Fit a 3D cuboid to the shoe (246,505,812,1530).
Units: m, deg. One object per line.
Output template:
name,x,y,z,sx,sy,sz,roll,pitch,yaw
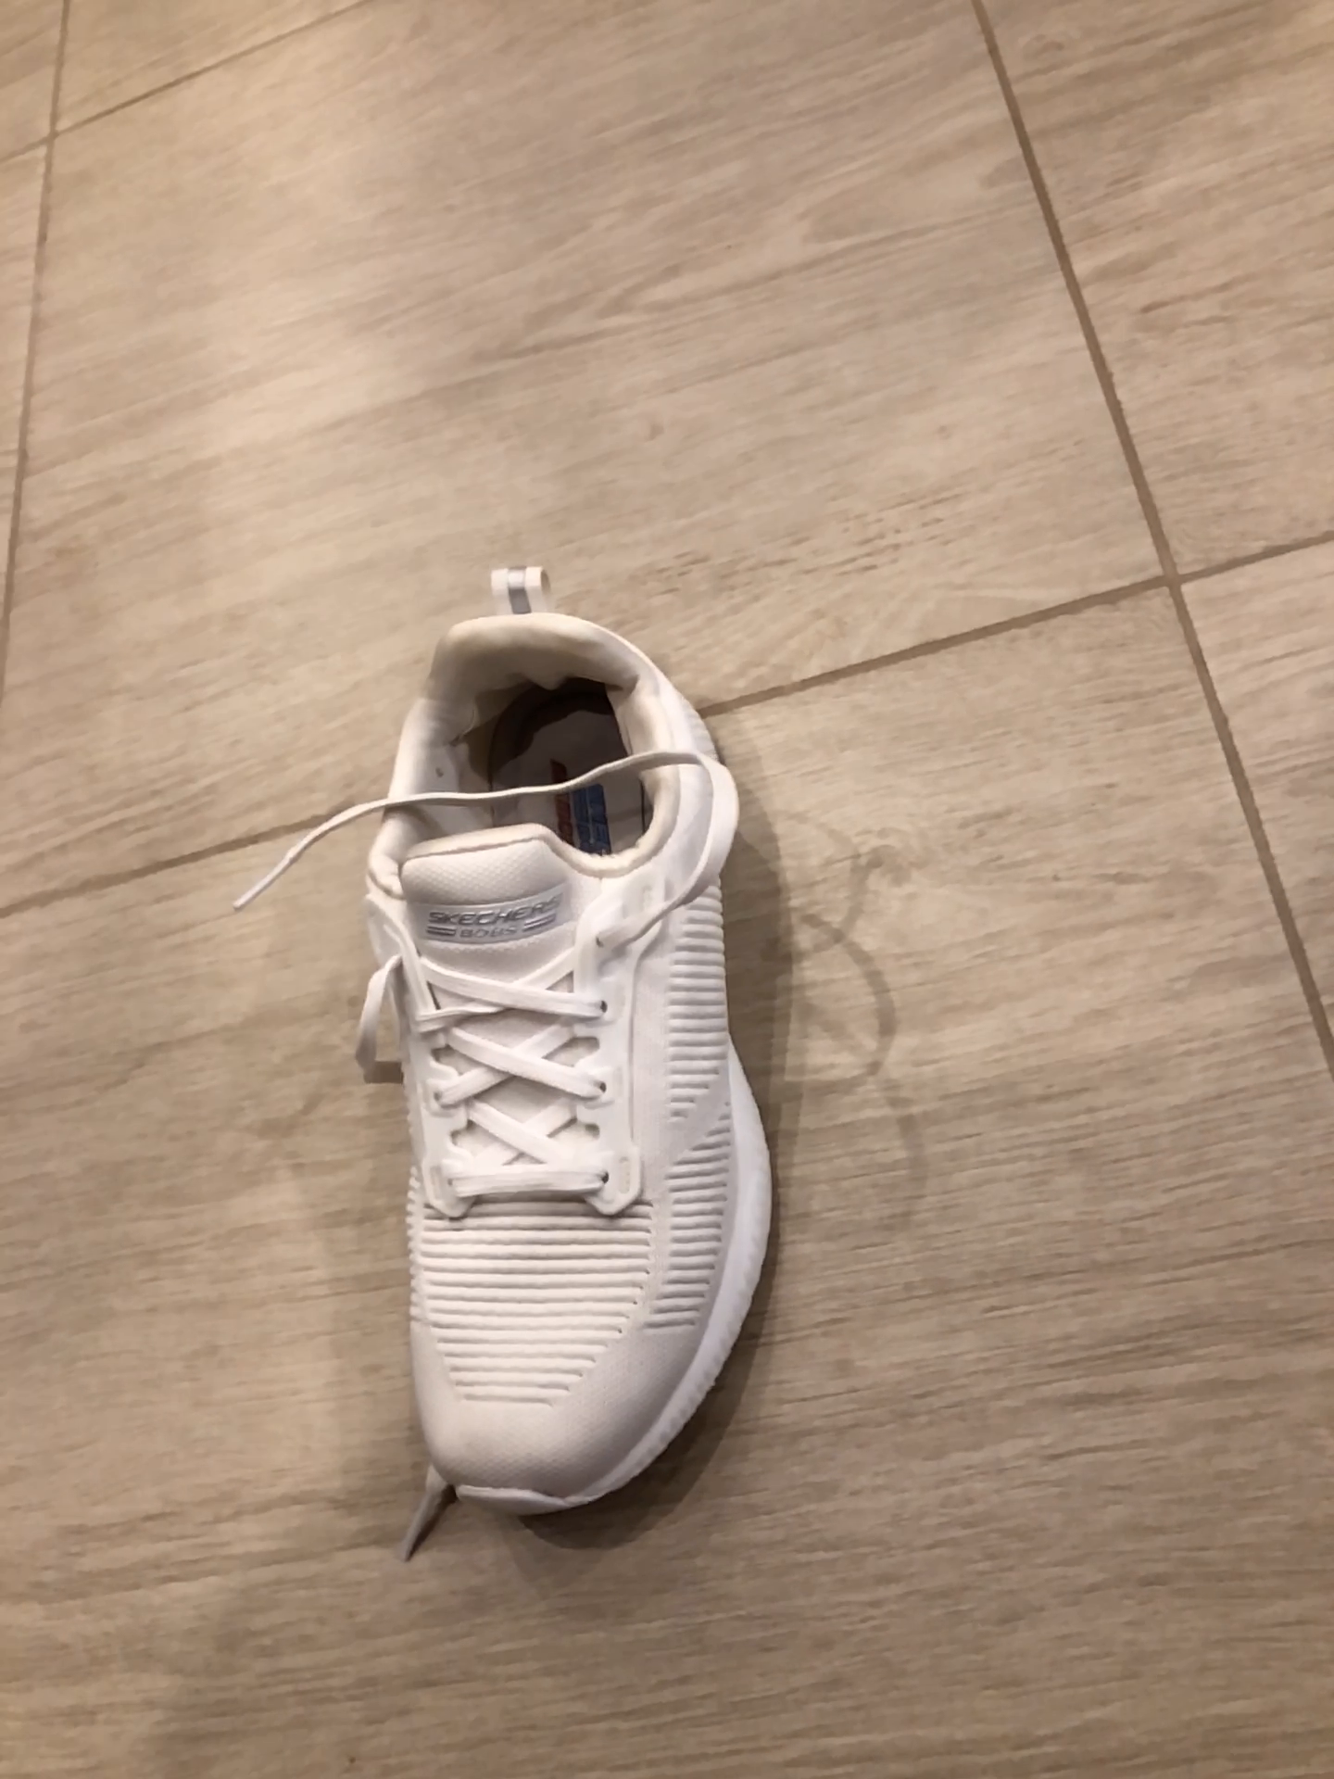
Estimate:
shoe,-0.022,0.038,0.384,0.090,0.120,0.231,-6,67,18
